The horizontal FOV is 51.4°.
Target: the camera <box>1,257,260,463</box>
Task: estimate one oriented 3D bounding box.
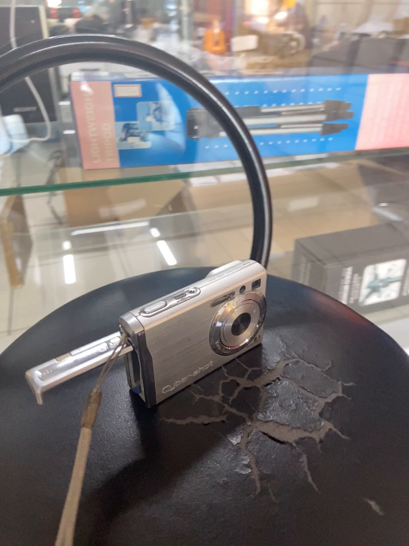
[{"bbox_3d":[-0.031,0.040,0.235,0.136,0.053,0.030,-22,37,-32],"label":"camera"}]
